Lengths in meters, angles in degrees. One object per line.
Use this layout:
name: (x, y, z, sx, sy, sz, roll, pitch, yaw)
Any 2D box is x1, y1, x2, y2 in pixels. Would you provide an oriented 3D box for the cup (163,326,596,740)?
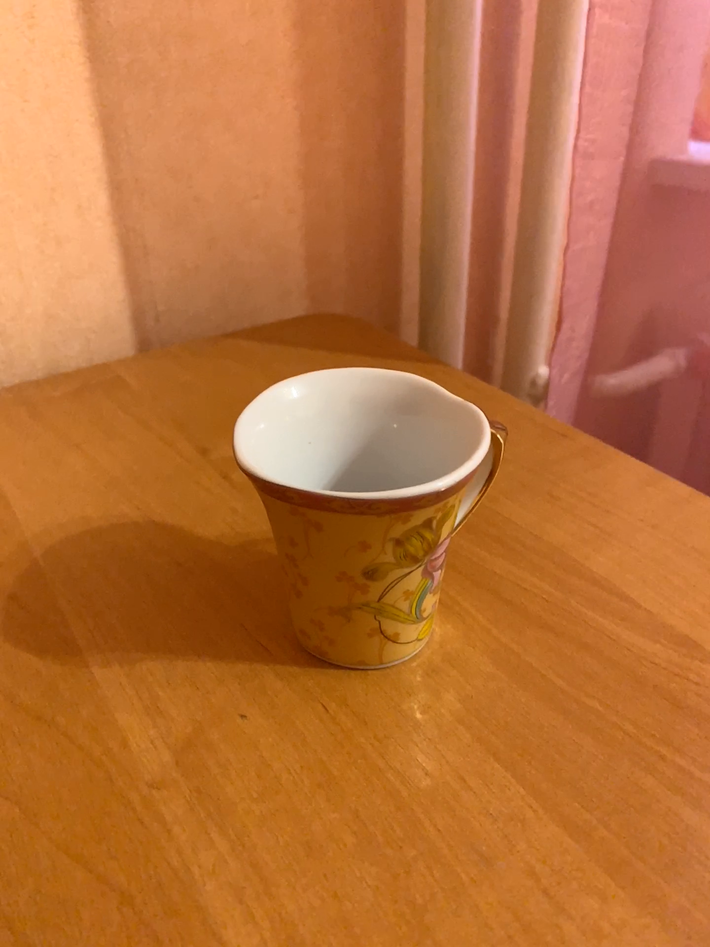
cup: (0.010, 0.008, 0.215, 0.072, 0.061, 0.094, 25, 40, 37)
